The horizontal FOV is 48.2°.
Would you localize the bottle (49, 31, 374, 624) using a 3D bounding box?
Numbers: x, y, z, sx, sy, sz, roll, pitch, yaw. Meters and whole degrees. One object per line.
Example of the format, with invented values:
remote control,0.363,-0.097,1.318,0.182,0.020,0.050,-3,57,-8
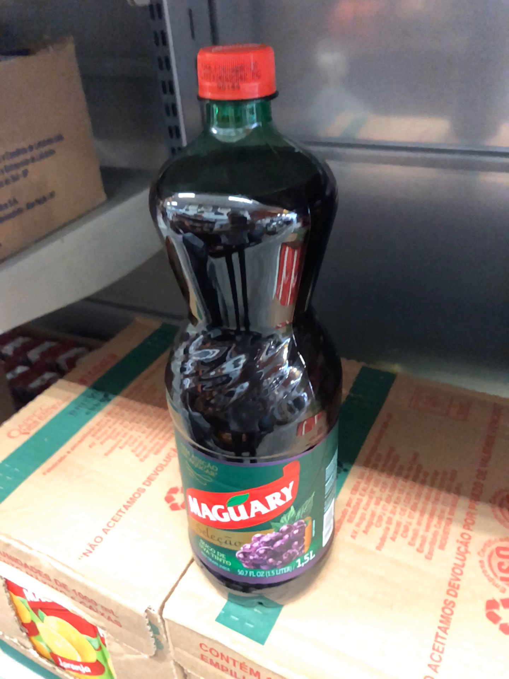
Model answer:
bottle,-0.001,0.015,0.284,0.100,0.288,0.081,4,34,11
